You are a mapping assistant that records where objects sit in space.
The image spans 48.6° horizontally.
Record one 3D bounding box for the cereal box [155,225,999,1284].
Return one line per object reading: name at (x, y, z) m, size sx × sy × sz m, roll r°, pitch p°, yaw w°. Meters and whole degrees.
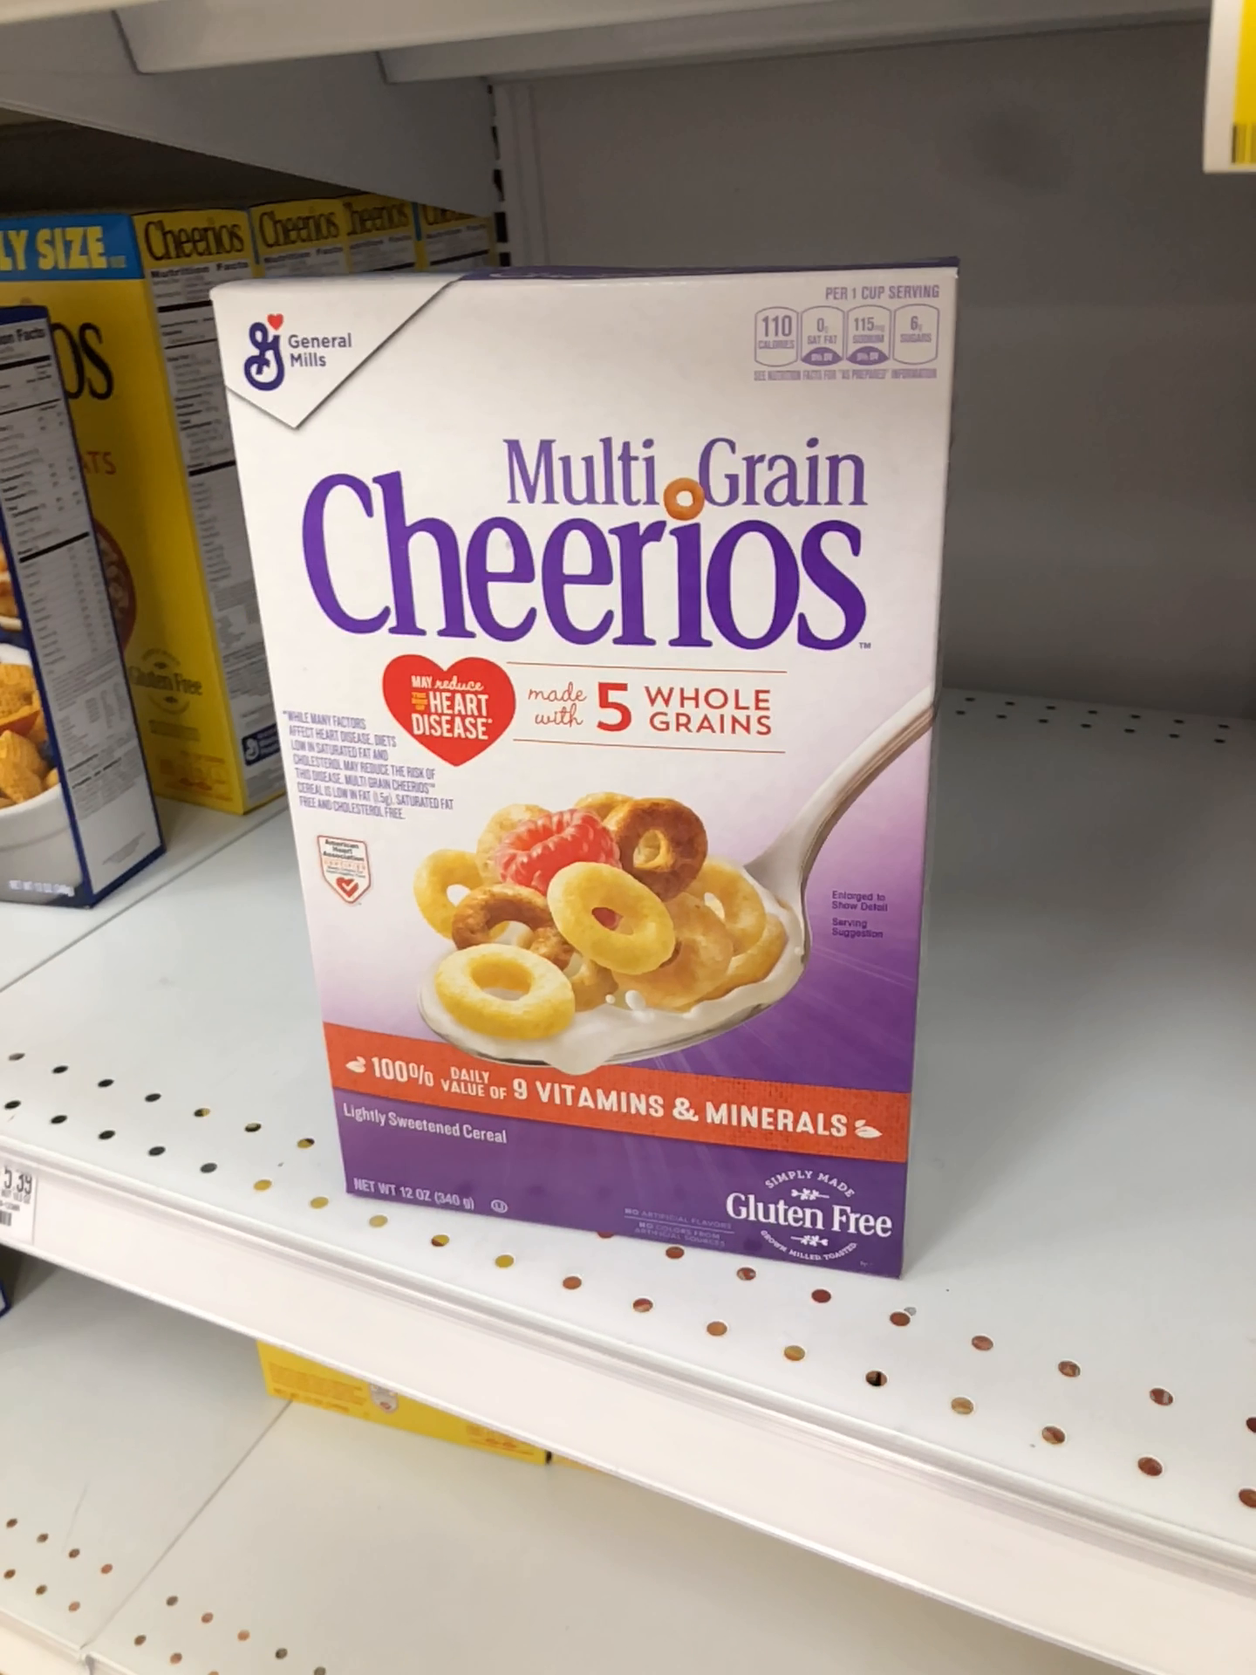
cereal box at (-0.005, -0.019, 0.427) m, size 0.210 × 0.299 × 0.070 m, roll 4°, pitch 26°, yaw 15°
